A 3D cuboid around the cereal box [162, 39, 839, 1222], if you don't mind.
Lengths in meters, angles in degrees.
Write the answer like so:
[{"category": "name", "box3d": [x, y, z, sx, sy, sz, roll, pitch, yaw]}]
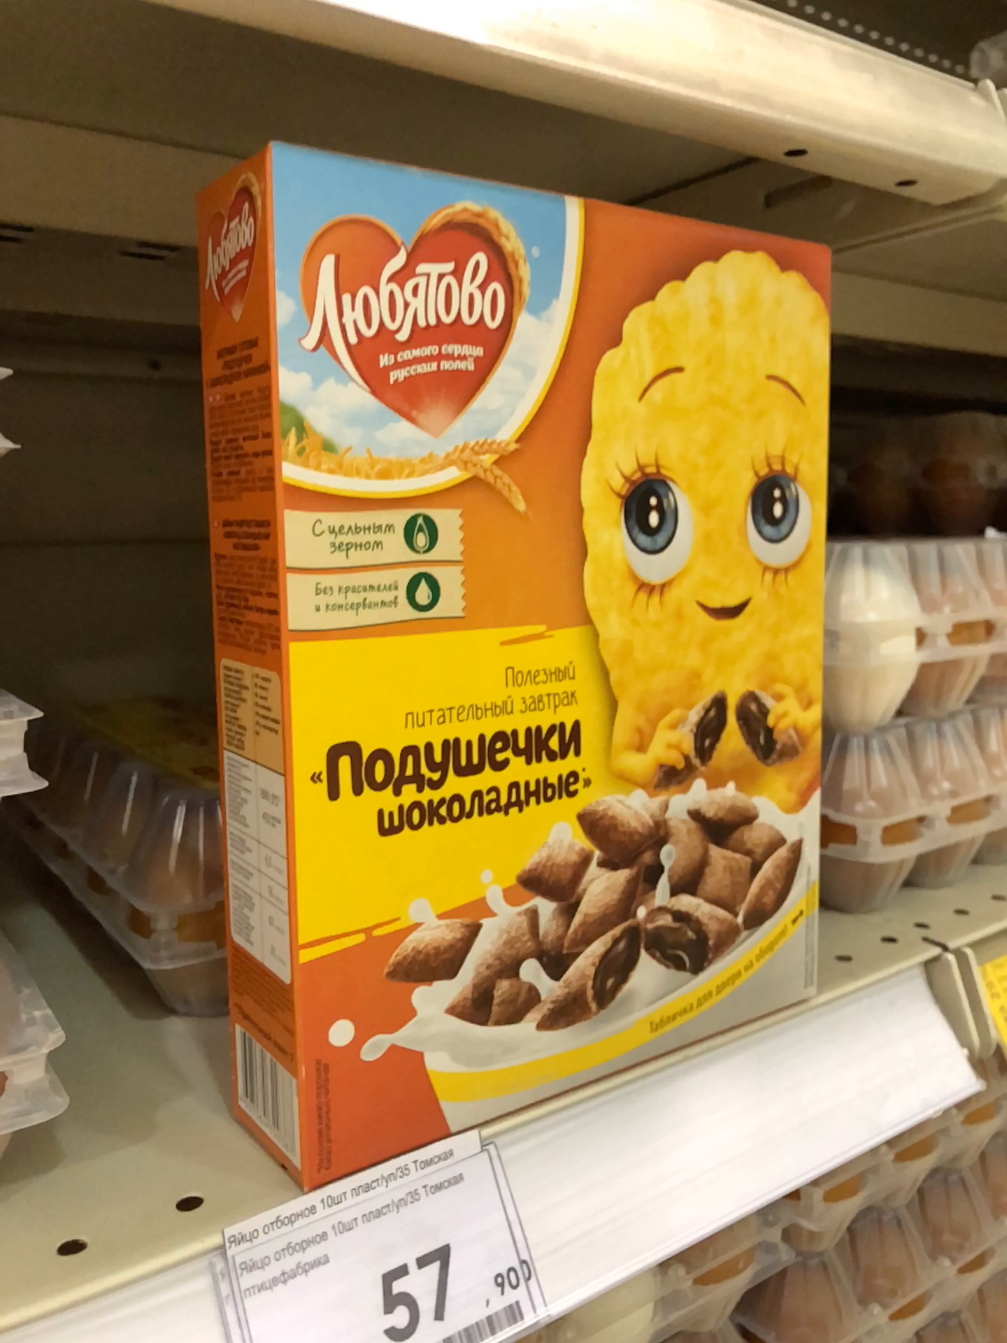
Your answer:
[{"category": "cereal box", "box3d": [0.011, -0.011, 0.294, 0.180, 0.240, 0.040, -5, 8, -35]}]
